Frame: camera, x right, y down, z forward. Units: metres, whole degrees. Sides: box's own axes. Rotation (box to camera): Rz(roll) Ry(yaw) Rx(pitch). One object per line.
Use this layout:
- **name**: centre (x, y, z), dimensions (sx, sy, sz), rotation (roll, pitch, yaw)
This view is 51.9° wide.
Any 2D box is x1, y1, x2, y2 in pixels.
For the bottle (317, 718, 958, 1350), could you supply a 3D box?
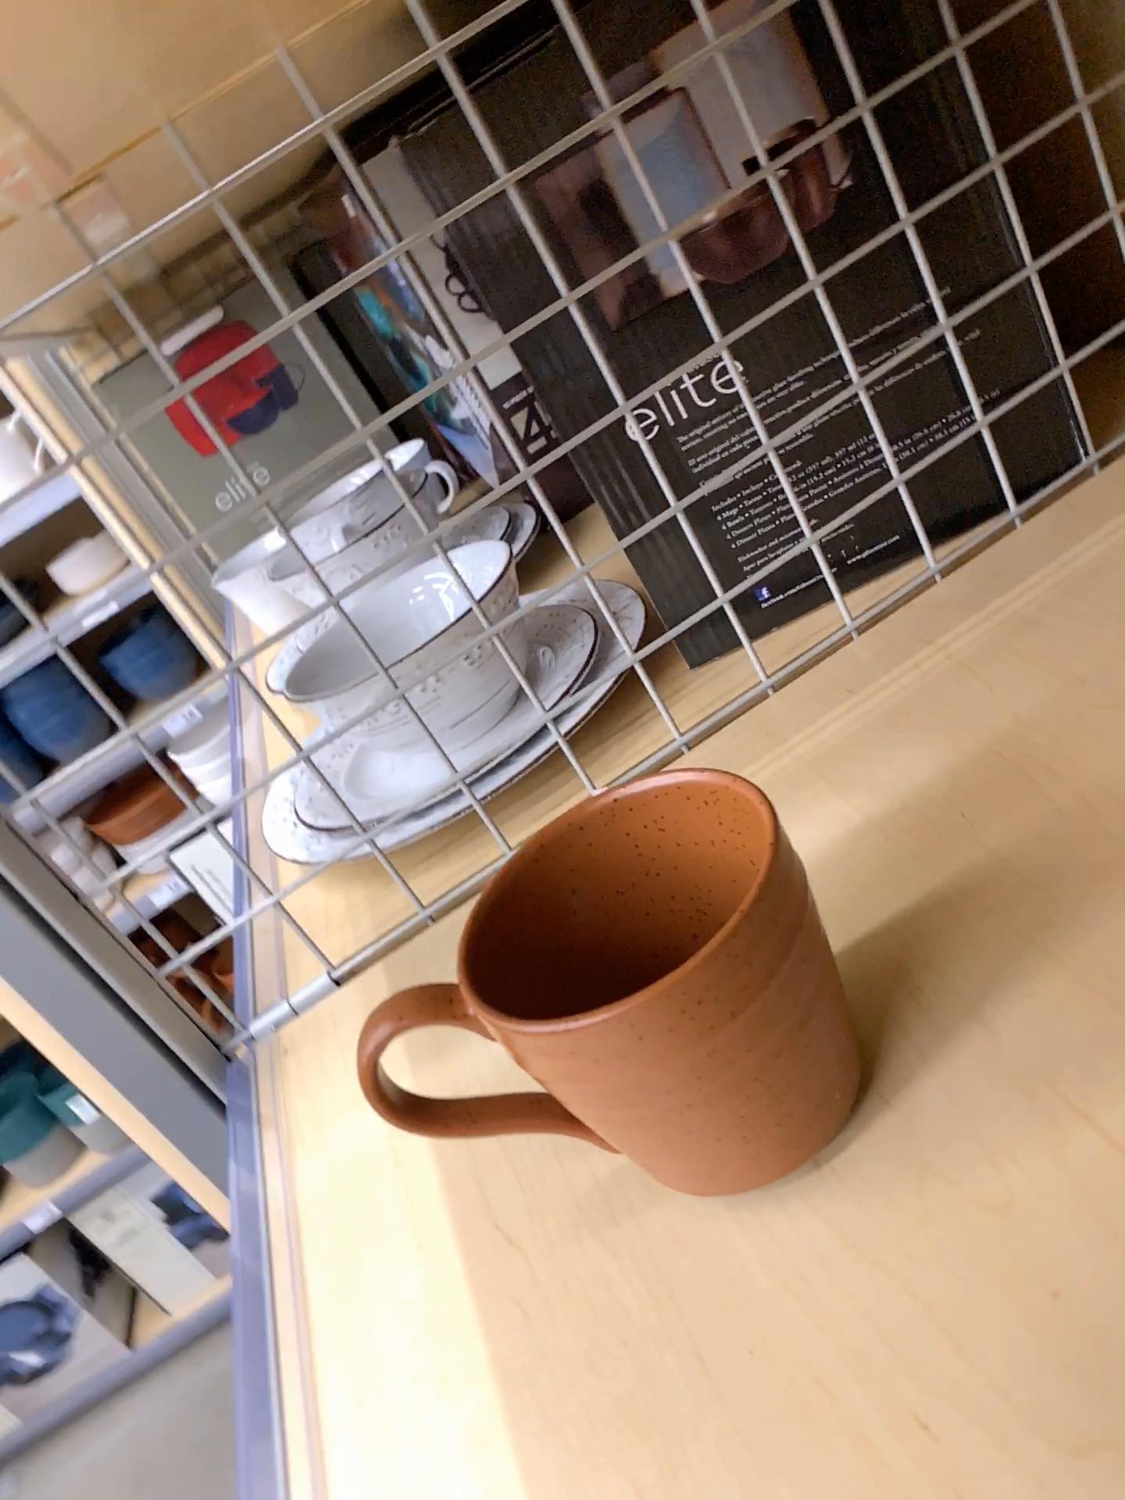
- **bottle**: centre (0.017, 0.080, 0.341), dimensions (0.140, 0.090, 0.101), rotation (-28, 26, 9)
